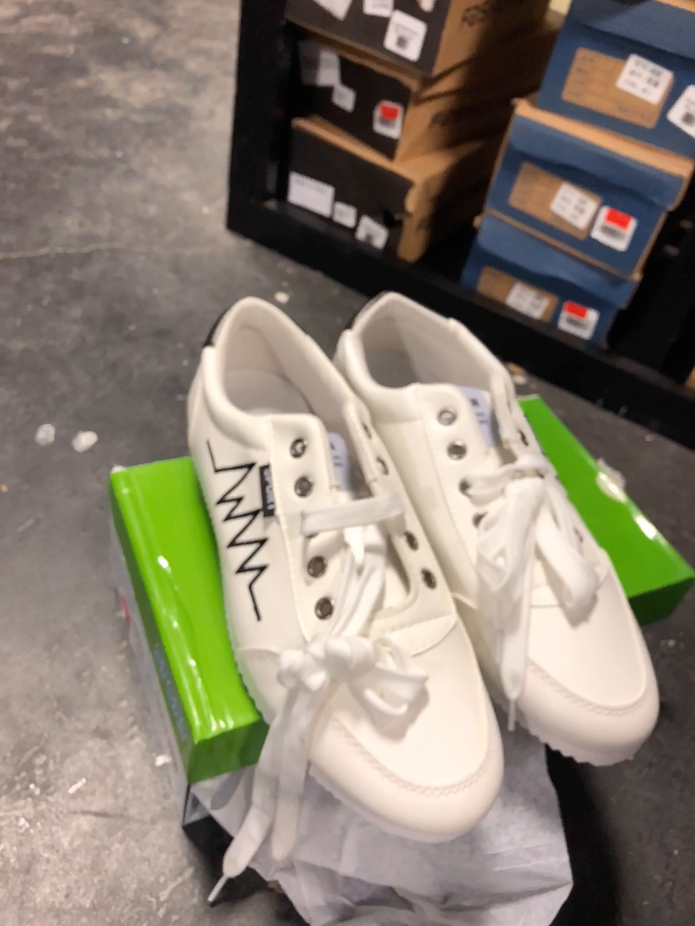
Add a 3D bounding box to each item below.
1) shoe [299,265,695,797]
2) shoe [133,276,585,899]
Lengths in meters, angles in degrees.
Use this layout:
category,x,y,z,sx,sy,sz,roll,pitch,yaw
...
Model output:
category,x,y,z,sx,sy,sz,roll,pitch,yaw
shoe,0.068,0.011,0.410,0.090,0.079,0.282,-14,49,-19
shoe,-0.019,0.029,0.364,0.090,0.079,0.282,-14,49,-19
